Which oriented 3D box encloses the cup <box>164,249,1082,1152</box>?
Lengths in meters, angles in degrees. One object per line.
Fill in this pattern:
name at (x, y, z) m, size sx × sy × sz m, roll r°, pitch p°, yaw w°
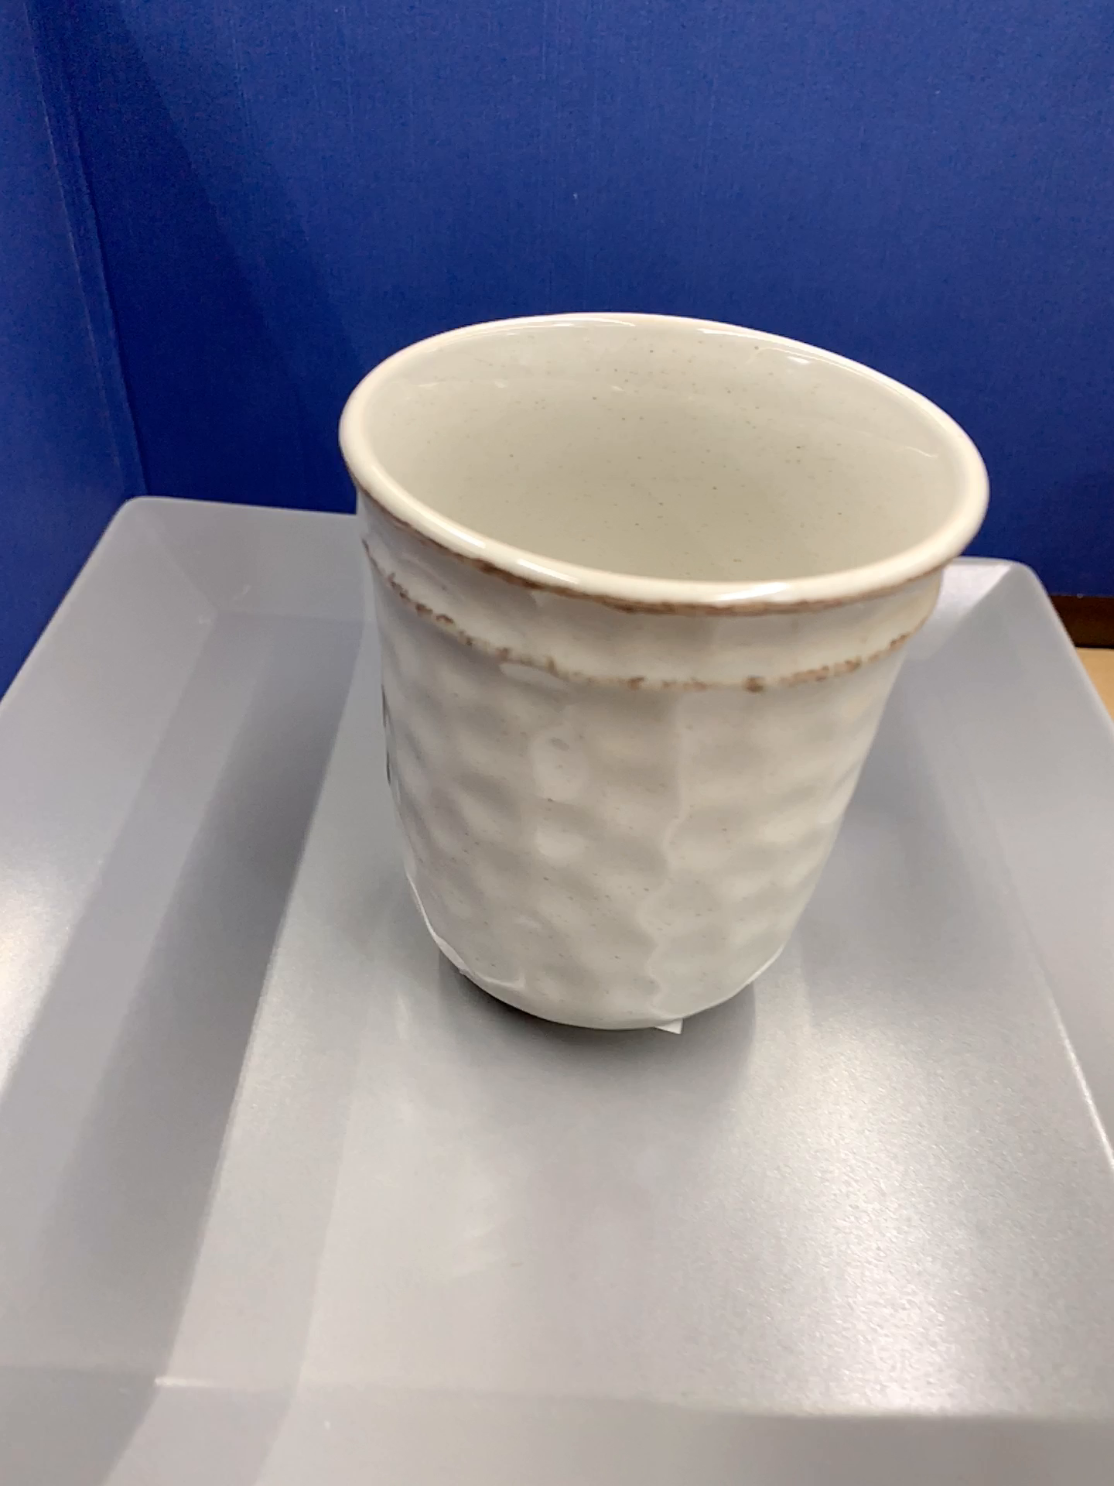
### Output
cup at (0.020, -0.022, 0.203) m, size 0.101 × 0.082 × 0.123 m, roll 18°, pitch 40°, yaw 19°
